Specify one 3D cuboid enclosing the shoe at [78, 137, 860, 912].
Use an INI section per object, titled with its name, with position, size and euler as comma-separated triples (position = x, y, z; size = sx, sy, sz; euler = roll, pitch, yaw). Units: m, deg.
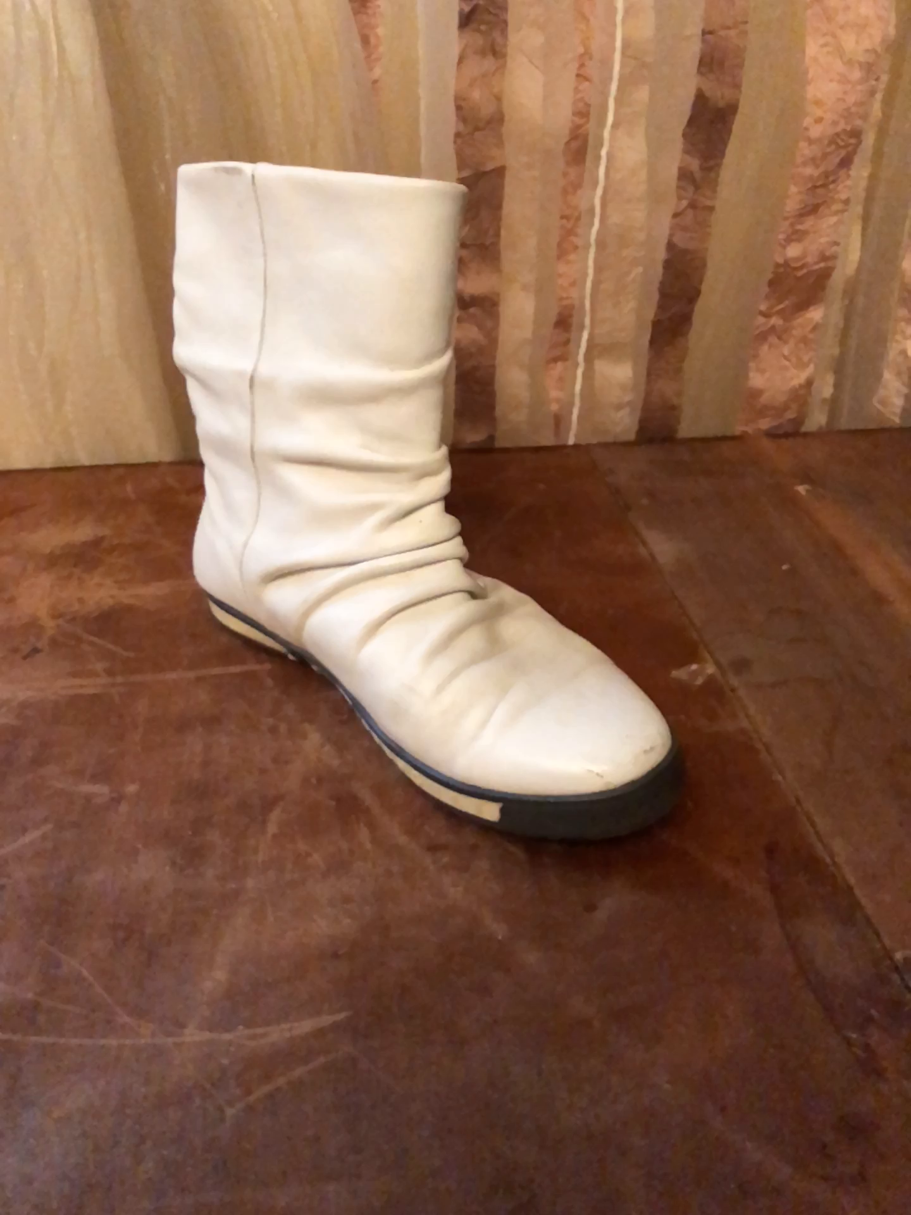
[shoe]
position = -0.017, -0.054, 0.340
size = 0.100, 0.169, 0.241
euler = -21, 36, -34
